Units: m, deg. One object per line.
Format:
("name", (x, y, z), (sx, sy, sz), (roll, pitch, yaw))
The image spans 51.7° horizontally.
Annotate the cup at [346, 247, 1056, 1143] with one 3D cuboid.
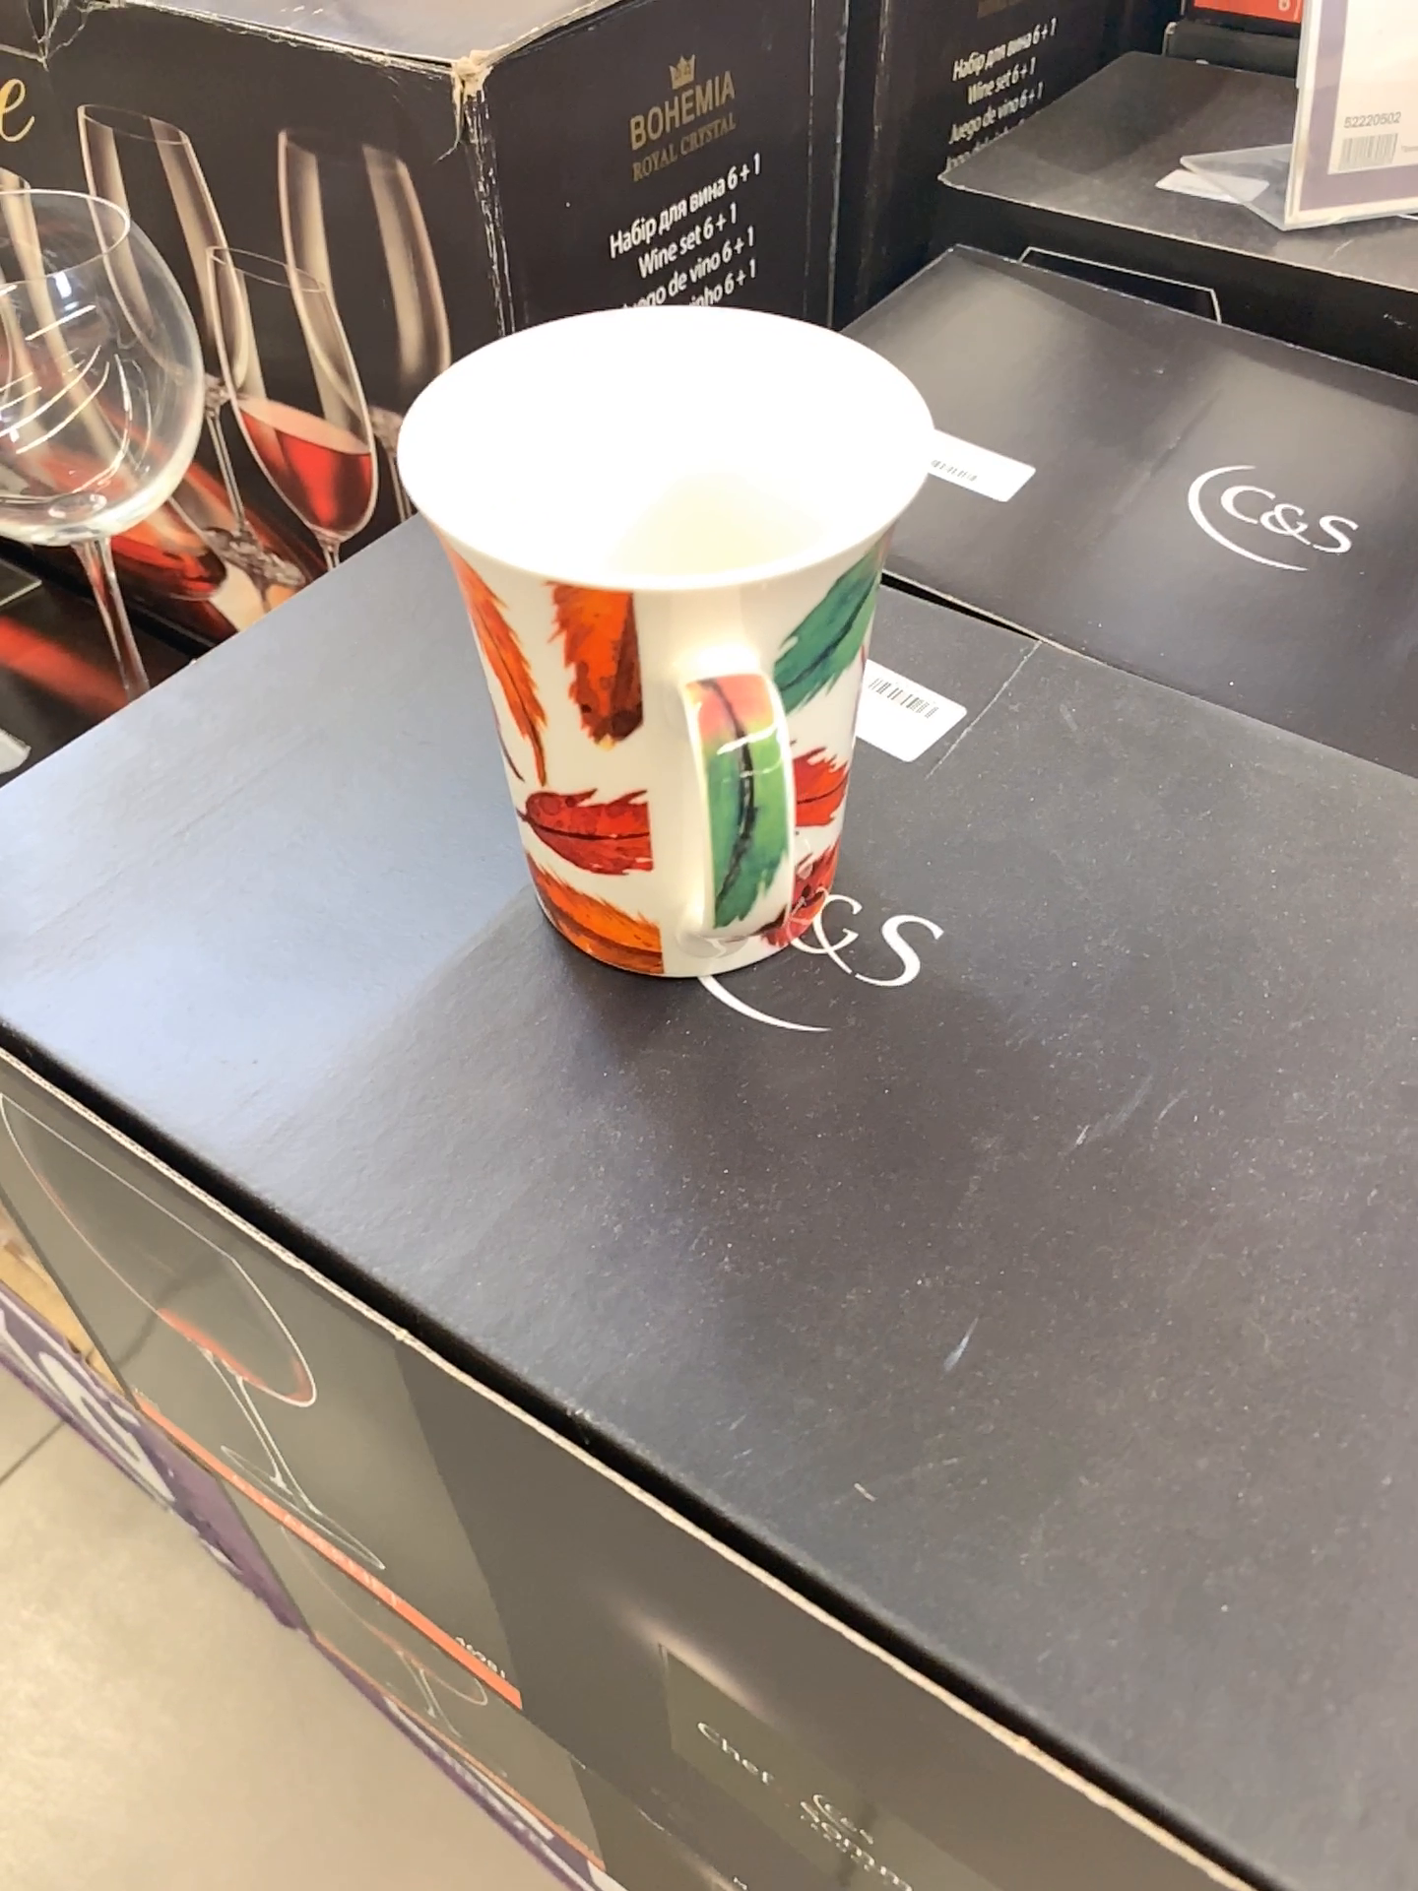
("cup", (-0.006, -0.047, 0.262), (0.090, 0.100, 0.120), (-5, 47, -4))
